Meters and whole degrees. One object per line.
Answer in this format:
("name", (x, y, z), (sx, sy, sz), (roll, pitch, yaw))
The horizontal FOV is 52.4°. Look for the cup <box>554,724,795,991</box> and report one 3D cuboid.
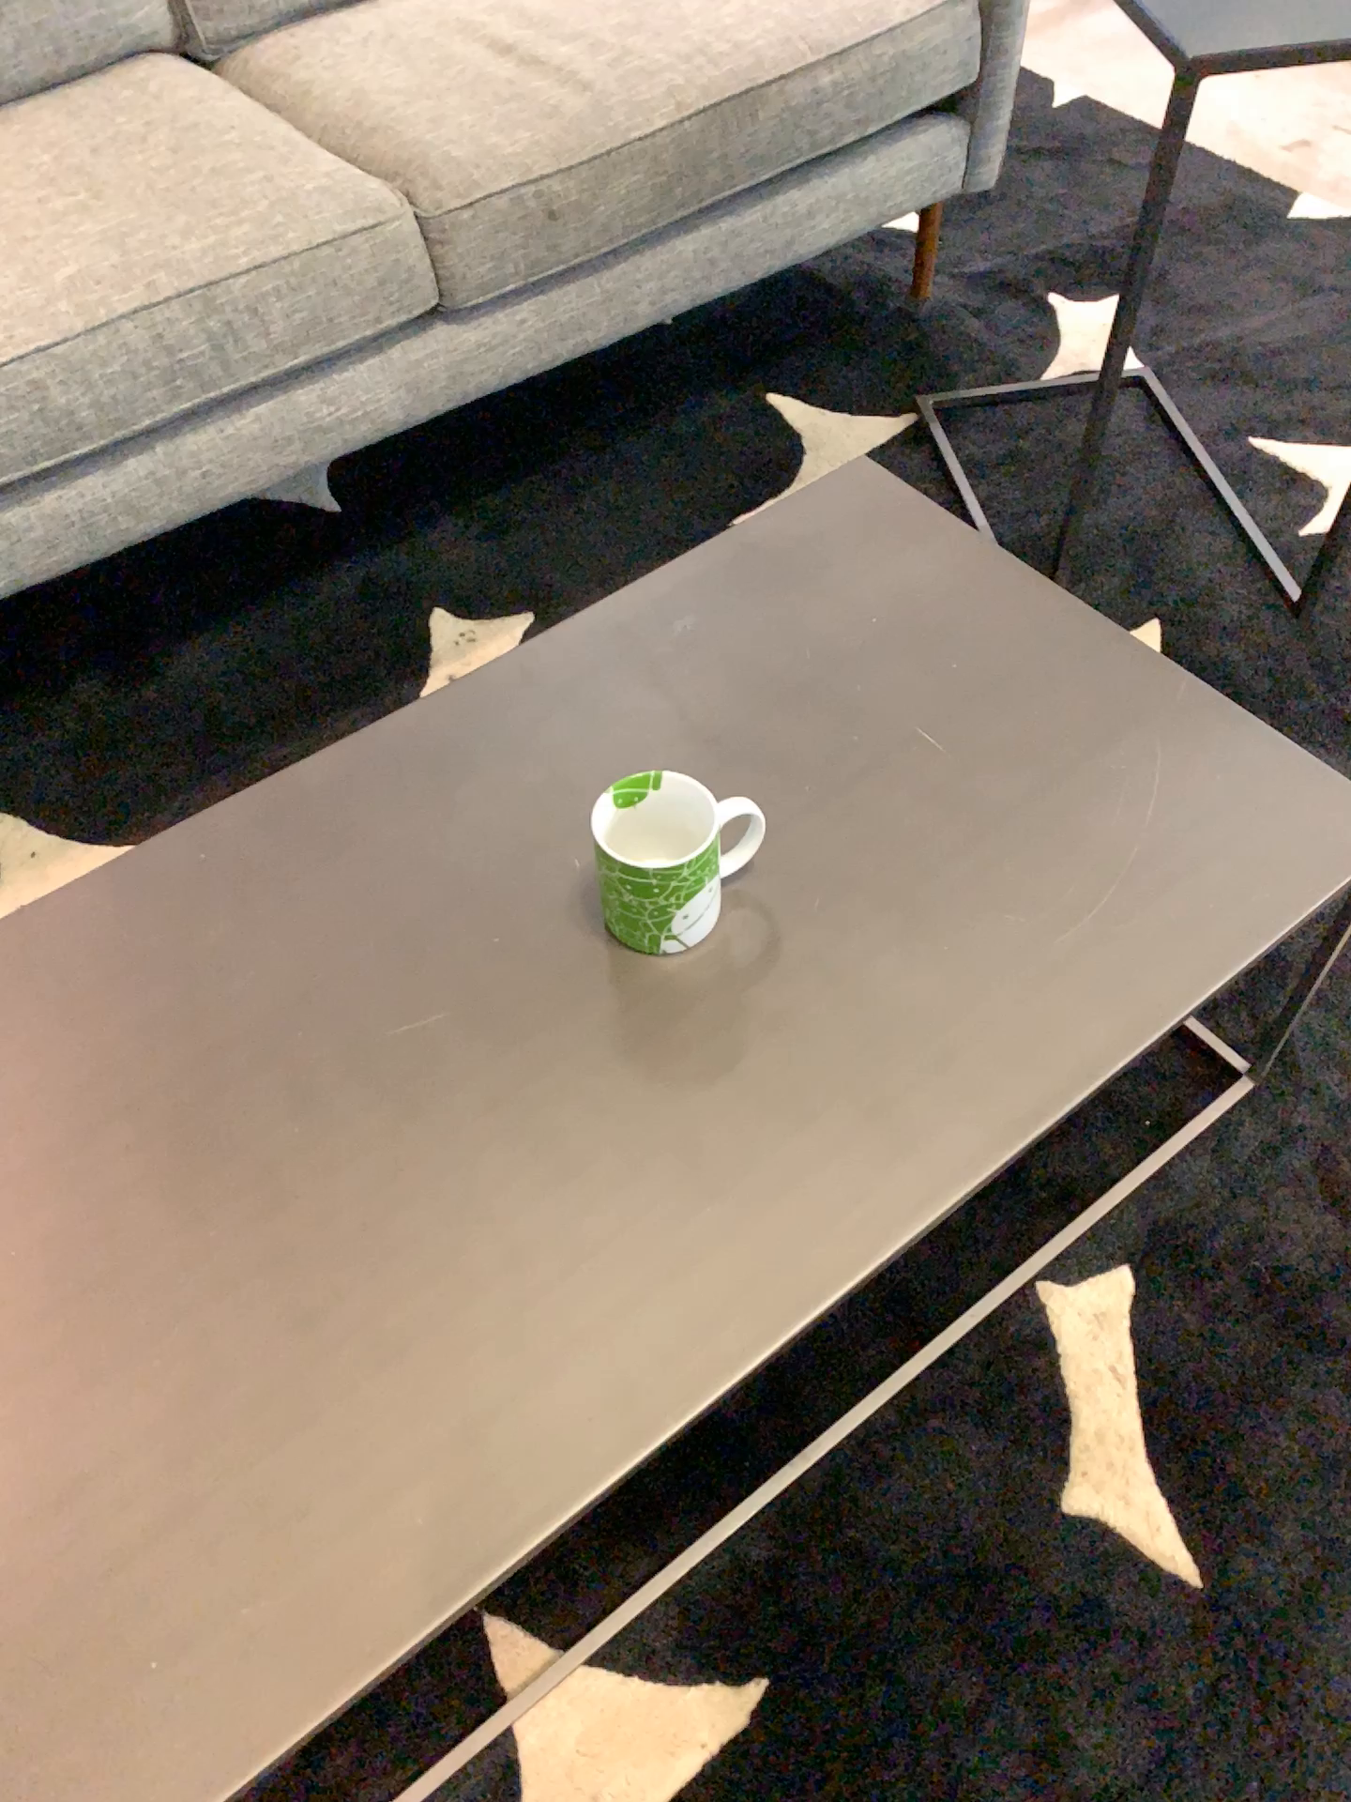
("cup", (0.001, -0.029, 0.885), (0.120, 0.090, 0.090), (-39, 61, -24))
